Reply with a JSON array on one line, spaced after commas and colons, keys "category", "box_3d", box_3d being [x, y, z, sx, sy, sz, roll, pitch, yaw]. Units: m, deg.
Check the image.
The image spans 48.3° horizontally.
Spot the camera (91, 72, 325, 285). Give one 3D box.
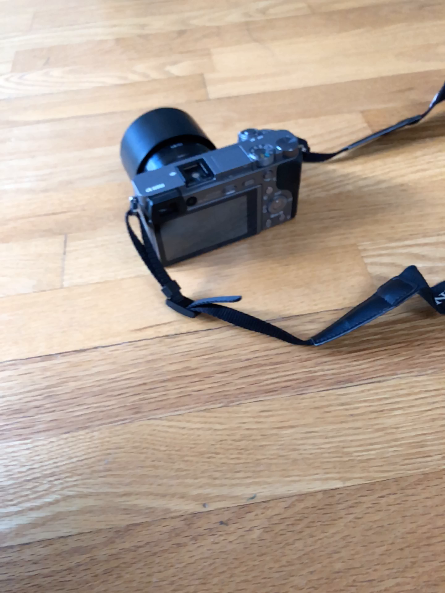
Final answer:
[{"category": "camera", "box_3d": [-0.012, -0.095, 0.386, 0.136, 0.079, 0.107, -22, 54, -13]}]
